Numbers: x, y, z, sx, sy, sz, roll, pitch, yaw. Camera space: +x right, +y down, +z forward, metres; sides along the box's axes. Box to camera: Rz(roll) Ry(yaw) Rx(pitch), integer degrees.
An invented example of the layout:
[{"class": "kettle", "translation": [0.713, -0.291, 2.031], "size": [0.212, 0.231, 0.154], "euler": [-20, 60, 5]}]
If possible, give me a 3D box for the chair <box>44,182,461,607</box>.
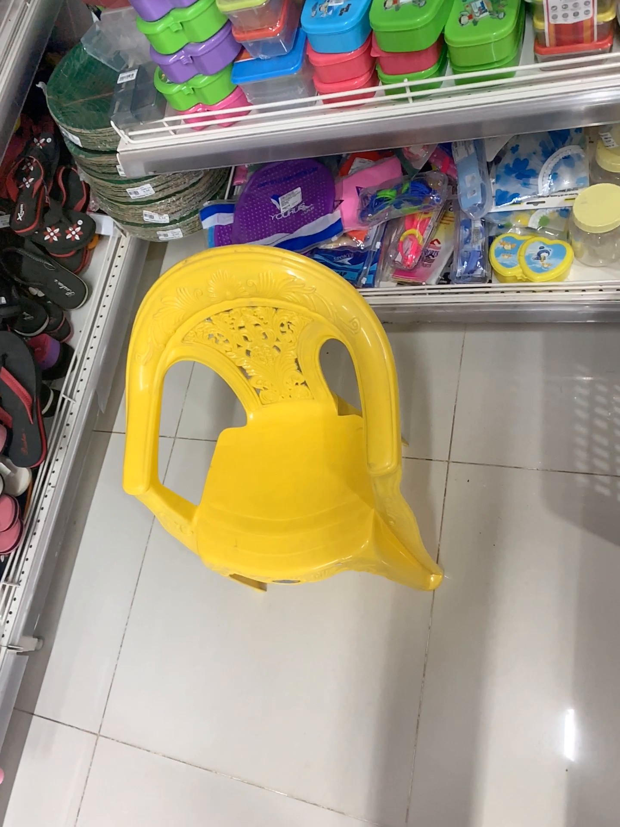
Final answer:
[{"class": "chair", "translation": [-0.031, 0.032, 0.949], "size": [0.421, 0.449, 0.460], "euler": [-6, 68, 20]}]
